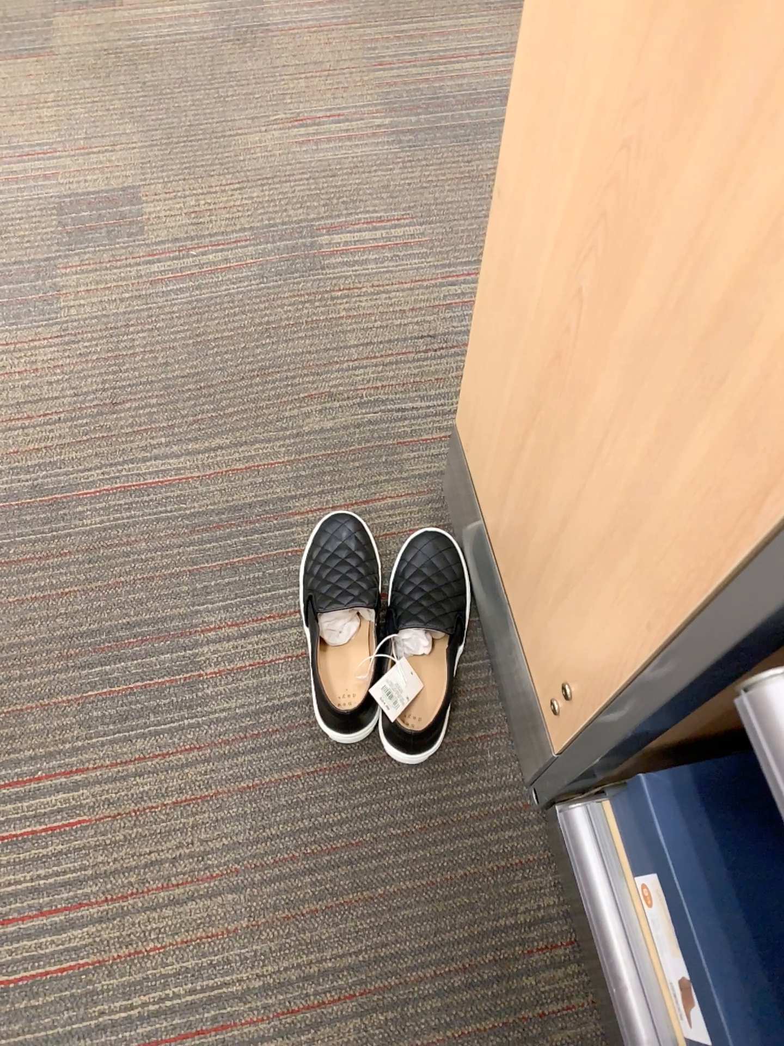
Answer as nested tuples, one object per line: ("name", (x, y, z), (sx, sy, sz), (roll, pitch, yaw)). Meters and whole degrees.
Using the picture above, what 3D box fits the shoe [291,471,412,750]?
("shoe", (-0.046, 0.087, 0.826), (0.100, 0.100, 0.261), (-4, 62, -4))

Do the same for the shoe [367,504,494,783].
("shoe", (0.042, 0.122, 0.835), (0.100, 0.100, 0.261), (7, 62, 2))
